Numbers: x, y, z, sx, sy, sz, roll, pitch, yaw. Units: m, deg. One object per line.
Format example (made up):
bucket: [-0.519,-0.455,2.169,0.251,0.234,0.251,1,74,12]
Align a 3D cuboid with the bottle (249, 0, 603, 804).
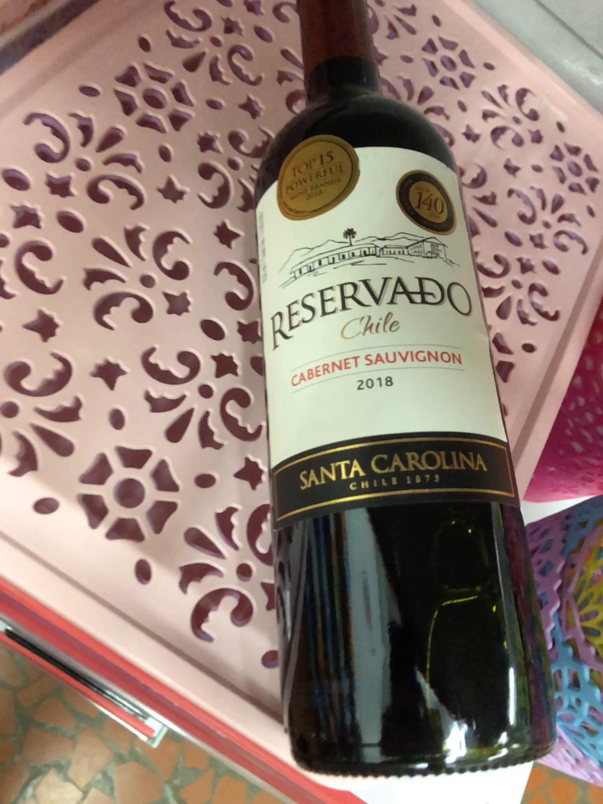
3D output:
bottle: [0.045,-0.051,0.244,0.110,0.070,0.351,5,69,-19]
